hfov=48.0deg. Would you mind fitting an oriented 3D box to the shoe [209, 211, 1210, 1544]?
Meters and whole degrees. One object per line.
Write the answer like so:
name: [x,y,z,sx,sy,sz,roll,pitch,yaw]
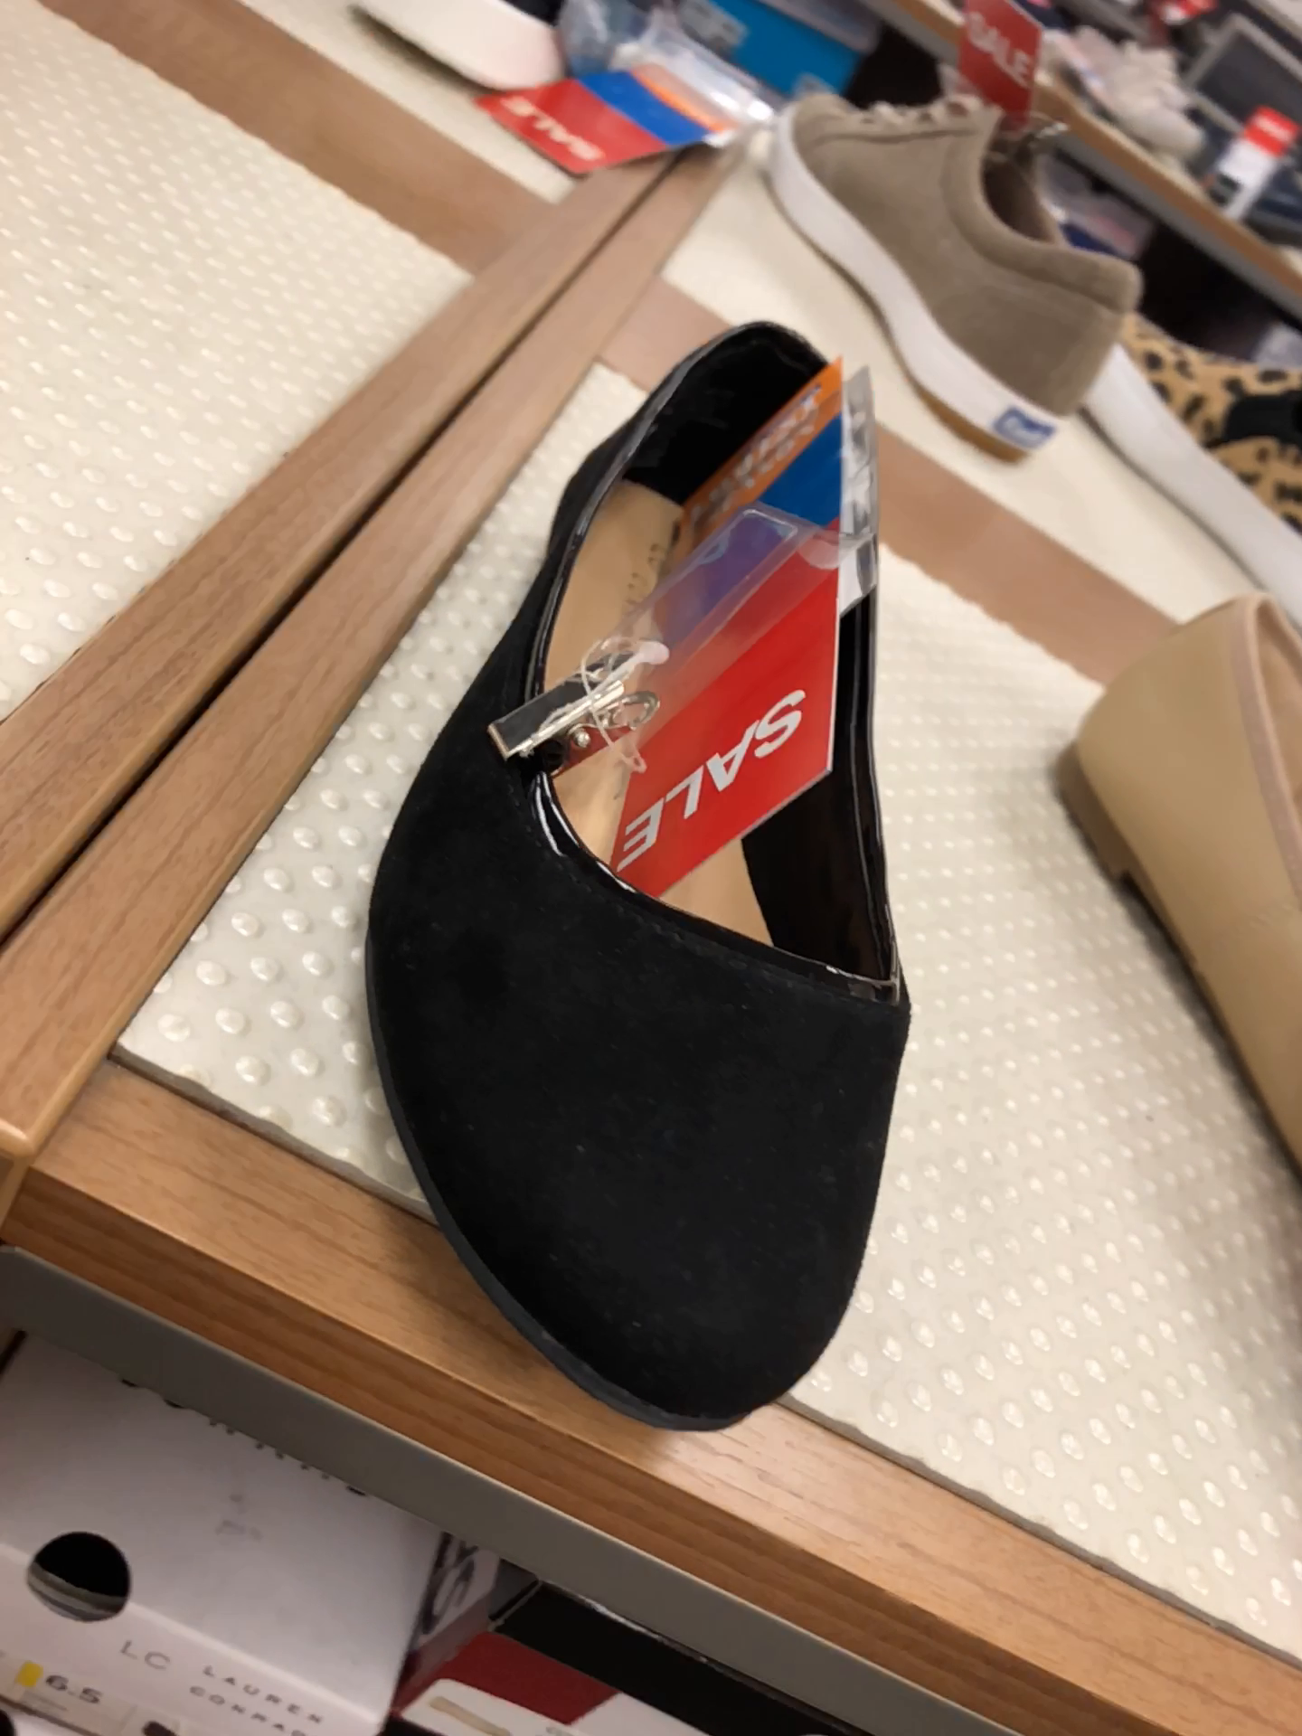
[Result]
shoe: [0.012,-0.026,0.254,0.091,0.064,0.239,25,37,-15]
